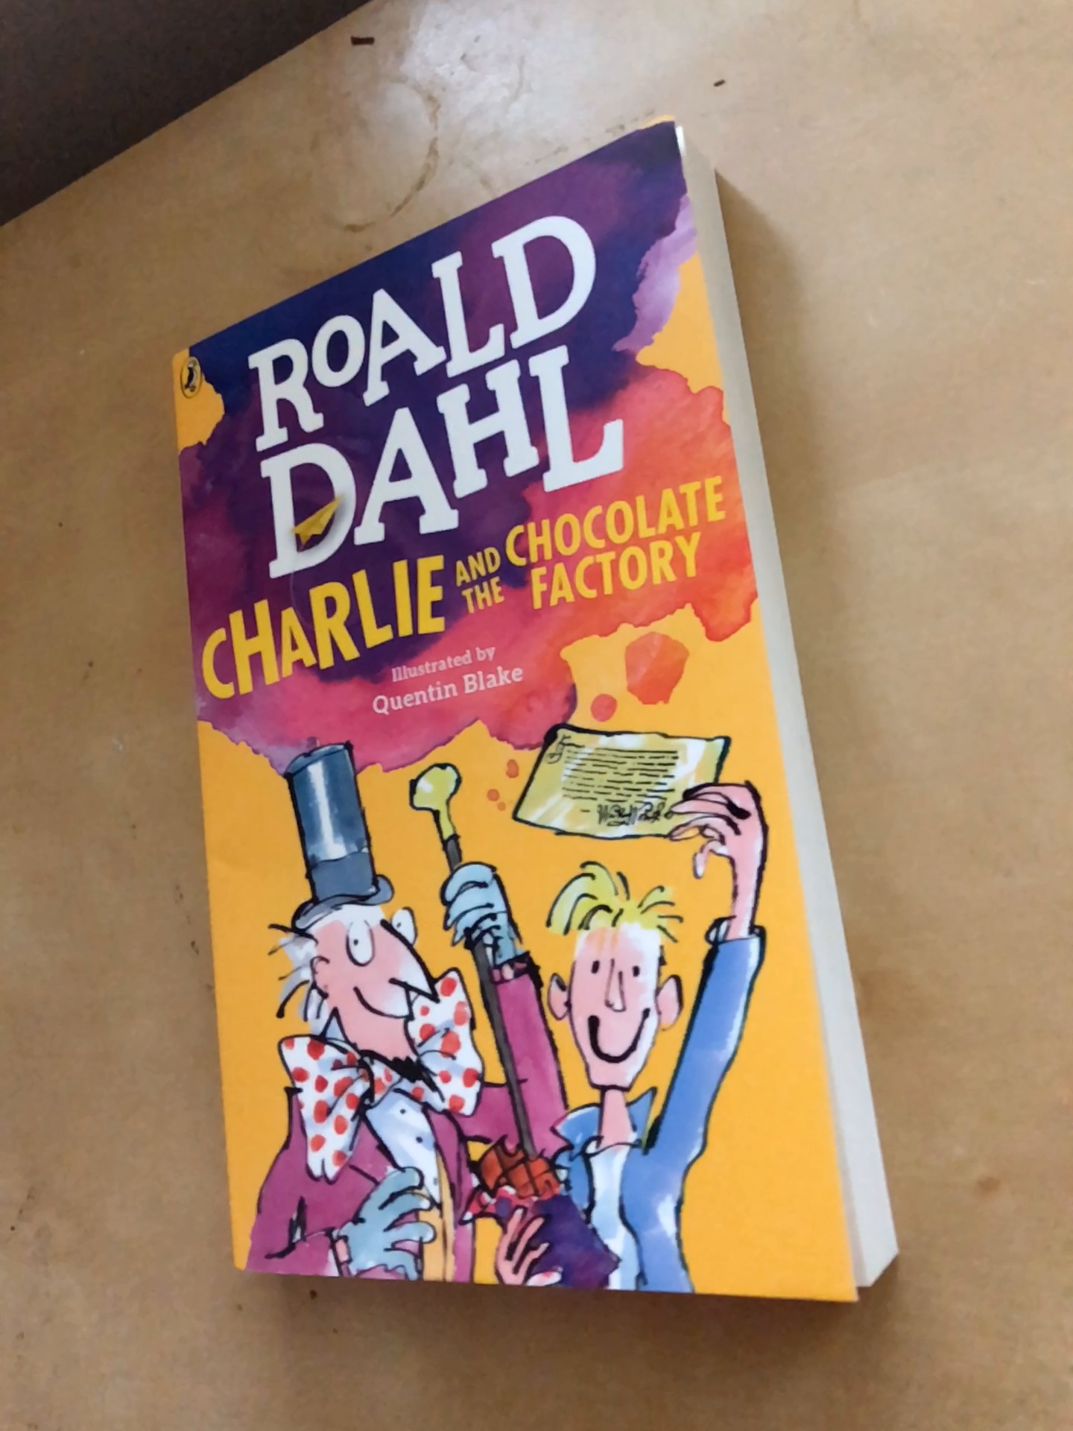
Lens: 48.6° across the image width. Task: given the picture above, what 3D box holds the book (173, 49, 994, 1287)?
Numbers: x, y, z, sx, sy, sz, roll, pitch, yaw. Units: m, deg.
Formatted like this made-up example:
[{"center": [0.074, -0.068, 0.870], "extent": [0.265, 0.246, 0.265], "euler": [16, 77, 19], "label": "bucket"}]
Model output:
[{"center": [-0.002, -0.002, 0.236], "extent": [0.135, 0.040, 0.201], "euler": [-13, 77, 28], "label": "book"}]
